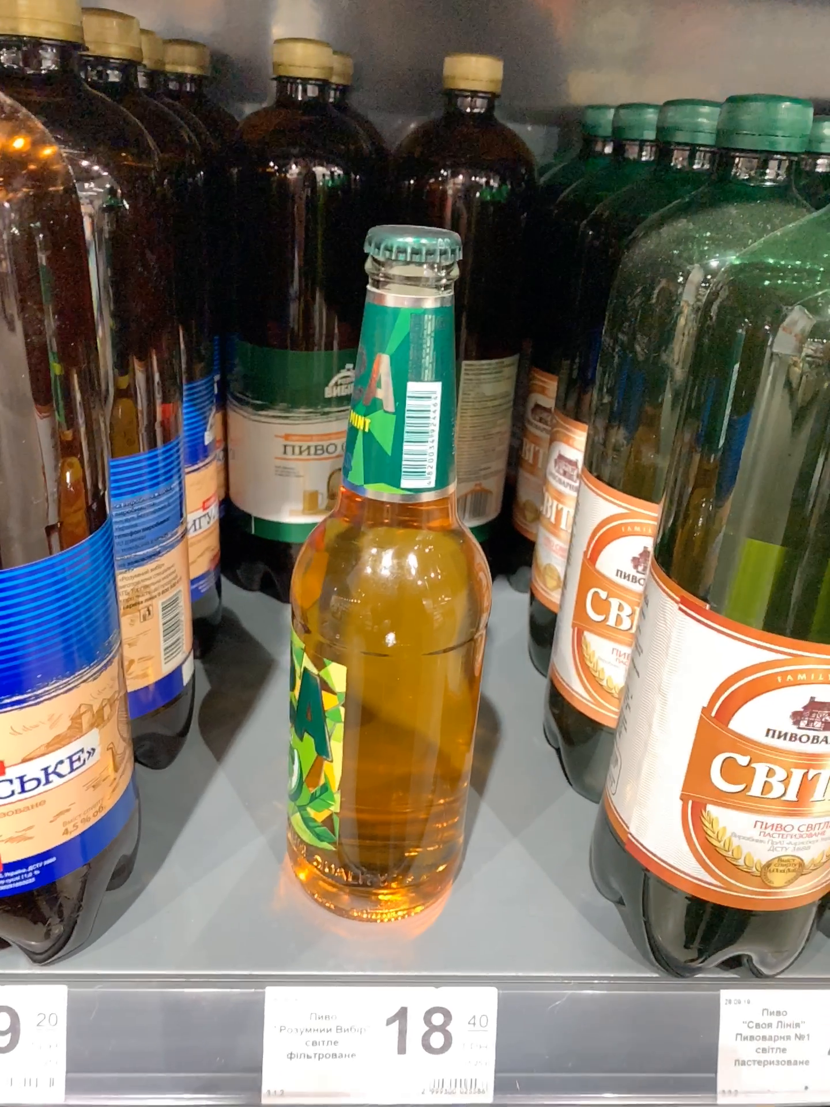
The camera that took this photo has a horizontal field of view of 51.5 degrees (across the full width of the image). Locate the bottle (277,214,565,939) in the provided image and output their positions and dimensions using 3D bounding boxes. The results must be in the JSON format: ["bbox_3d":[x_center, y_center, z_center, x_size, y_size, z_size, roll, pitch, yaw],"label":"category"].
[{"bbox_3d":[-0.010,0.015,0.300,0.066,0.238,0.072,3,26,-2],"label":"bottle"}]
